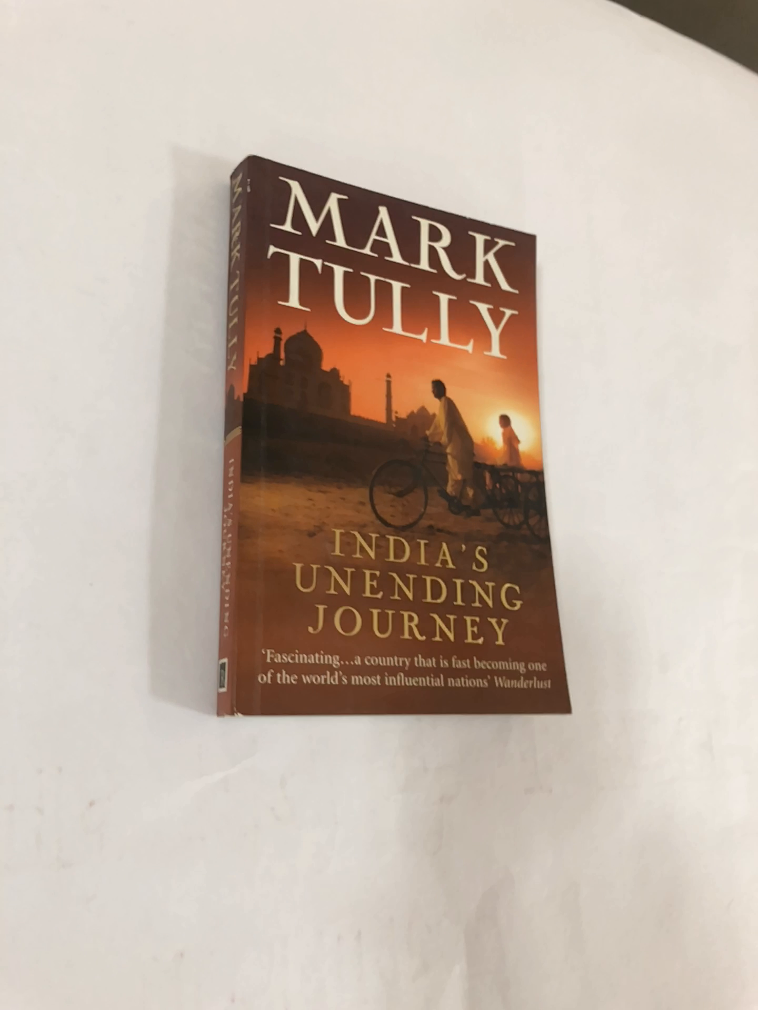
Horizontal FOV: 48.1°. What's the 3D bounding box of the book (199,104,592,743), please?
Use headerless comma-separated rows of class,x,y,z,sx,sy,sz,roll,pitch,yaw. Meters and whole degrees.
book,0.008,-0.025,0.305,0.130,0.030,0.210,8,72,-28
